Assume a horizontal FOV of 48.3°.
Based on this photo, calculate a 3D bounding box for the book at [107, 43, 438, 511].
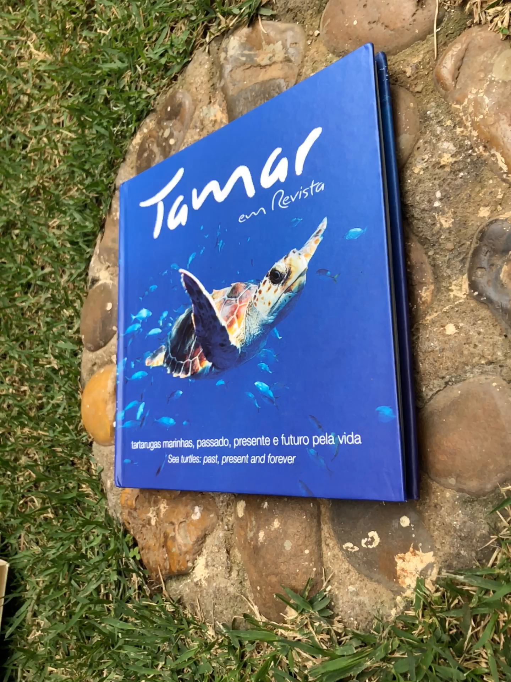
[{"bbox_3d":[-0.010,-0.015,0.264,0.179,0.020,0.166,-10,76,43],"label":"book"}]
